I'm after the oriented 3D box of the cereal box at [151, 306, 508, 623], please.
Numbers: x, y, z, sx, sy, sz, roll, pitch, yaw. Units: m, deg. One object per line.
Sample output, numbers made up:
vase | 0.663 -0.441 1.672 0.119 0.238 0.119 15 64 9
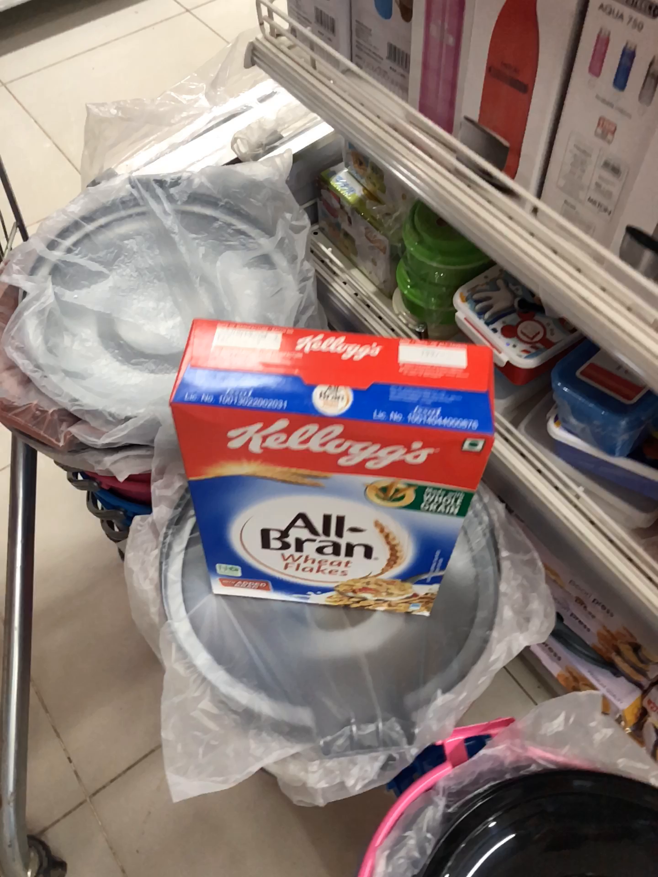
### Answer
cereal box | 0.001 0.037 0.515 0.190 0.270 0.070 6 55 3
